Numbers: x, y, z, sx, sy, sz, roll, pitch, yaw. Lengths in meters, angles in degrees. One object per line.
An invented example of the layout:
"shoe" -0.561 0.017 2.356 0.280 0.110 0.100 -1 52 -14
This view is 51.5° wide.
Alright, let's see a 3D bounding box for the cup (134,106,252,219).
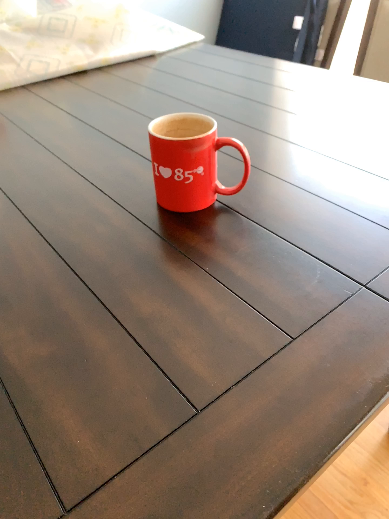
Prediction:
"cup" 0.003 -0.115 0.475 0.120 0.099 0.080 4 39 8
